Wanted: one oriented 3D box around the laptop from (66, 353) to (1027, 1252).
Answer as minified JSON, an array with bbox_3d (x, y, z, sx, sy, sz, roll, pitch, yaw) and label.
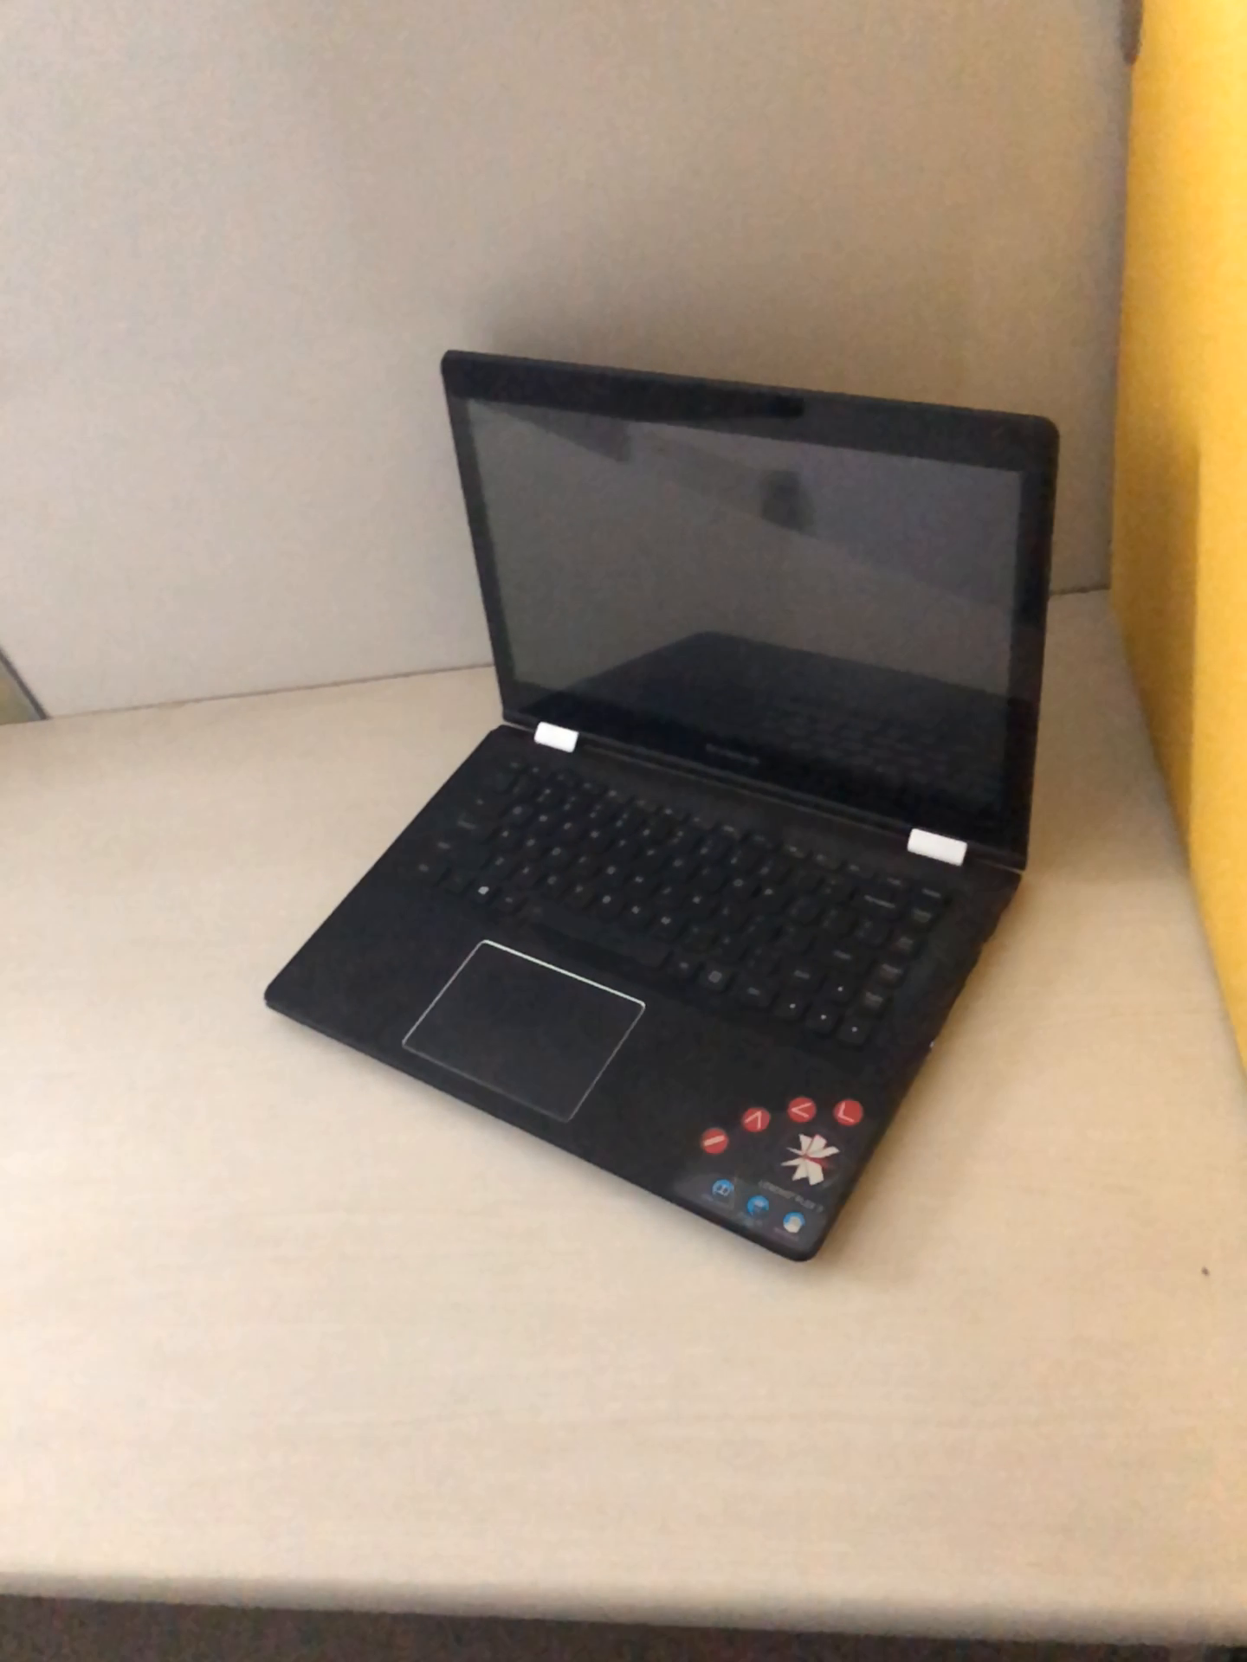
[{"bbox_3d":[-0.012,-0.036,0.636,0.312,0.225,0.264,19,55,31],"label":"laptop"}]
